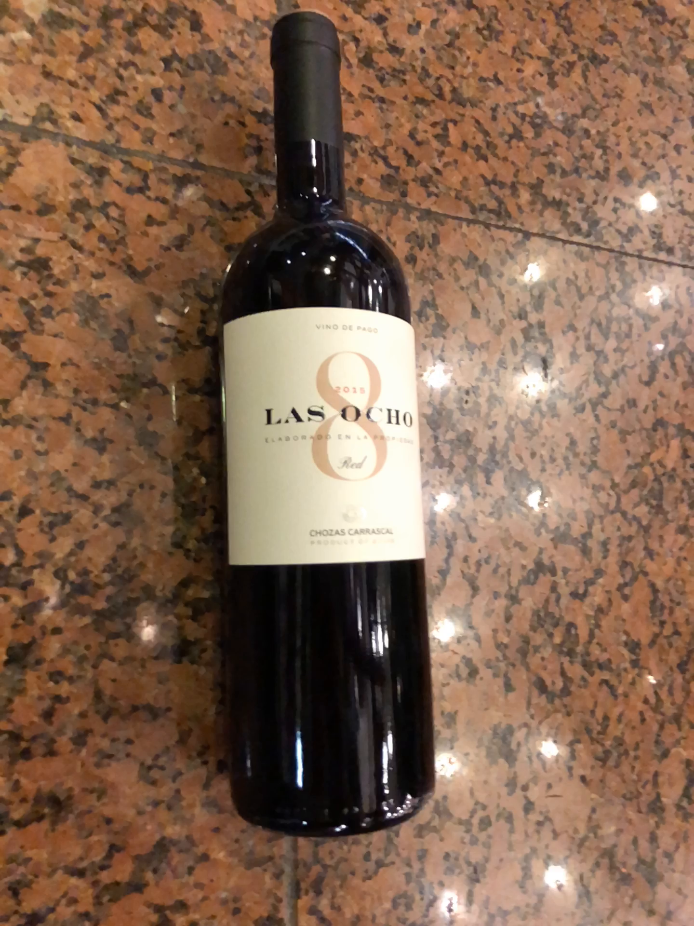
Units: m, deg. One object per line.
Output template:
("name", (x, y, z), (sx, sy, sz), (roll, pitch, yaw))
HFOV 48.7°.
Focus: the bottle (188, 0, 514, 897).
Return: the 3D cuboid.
("bottle", (-0.003, -0.025, 0.302), (0.090, 0.060, 0.330), (-1, 84, -26))
